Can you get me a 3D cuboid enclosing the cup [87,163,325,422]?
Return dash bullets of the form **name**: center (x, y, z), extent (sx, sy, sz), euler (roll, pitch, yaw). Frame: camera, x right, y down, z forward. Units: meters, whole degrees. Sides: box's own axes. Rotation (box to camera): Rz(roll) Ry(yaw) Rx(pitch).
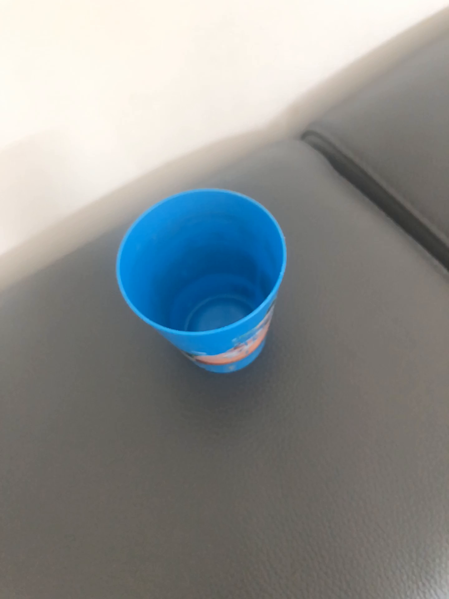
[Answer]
- **cup**: center (-0.007, 0.000, 0.275), extent (0.080, 0.090, 0.080), euler (-2, 63, 4)
